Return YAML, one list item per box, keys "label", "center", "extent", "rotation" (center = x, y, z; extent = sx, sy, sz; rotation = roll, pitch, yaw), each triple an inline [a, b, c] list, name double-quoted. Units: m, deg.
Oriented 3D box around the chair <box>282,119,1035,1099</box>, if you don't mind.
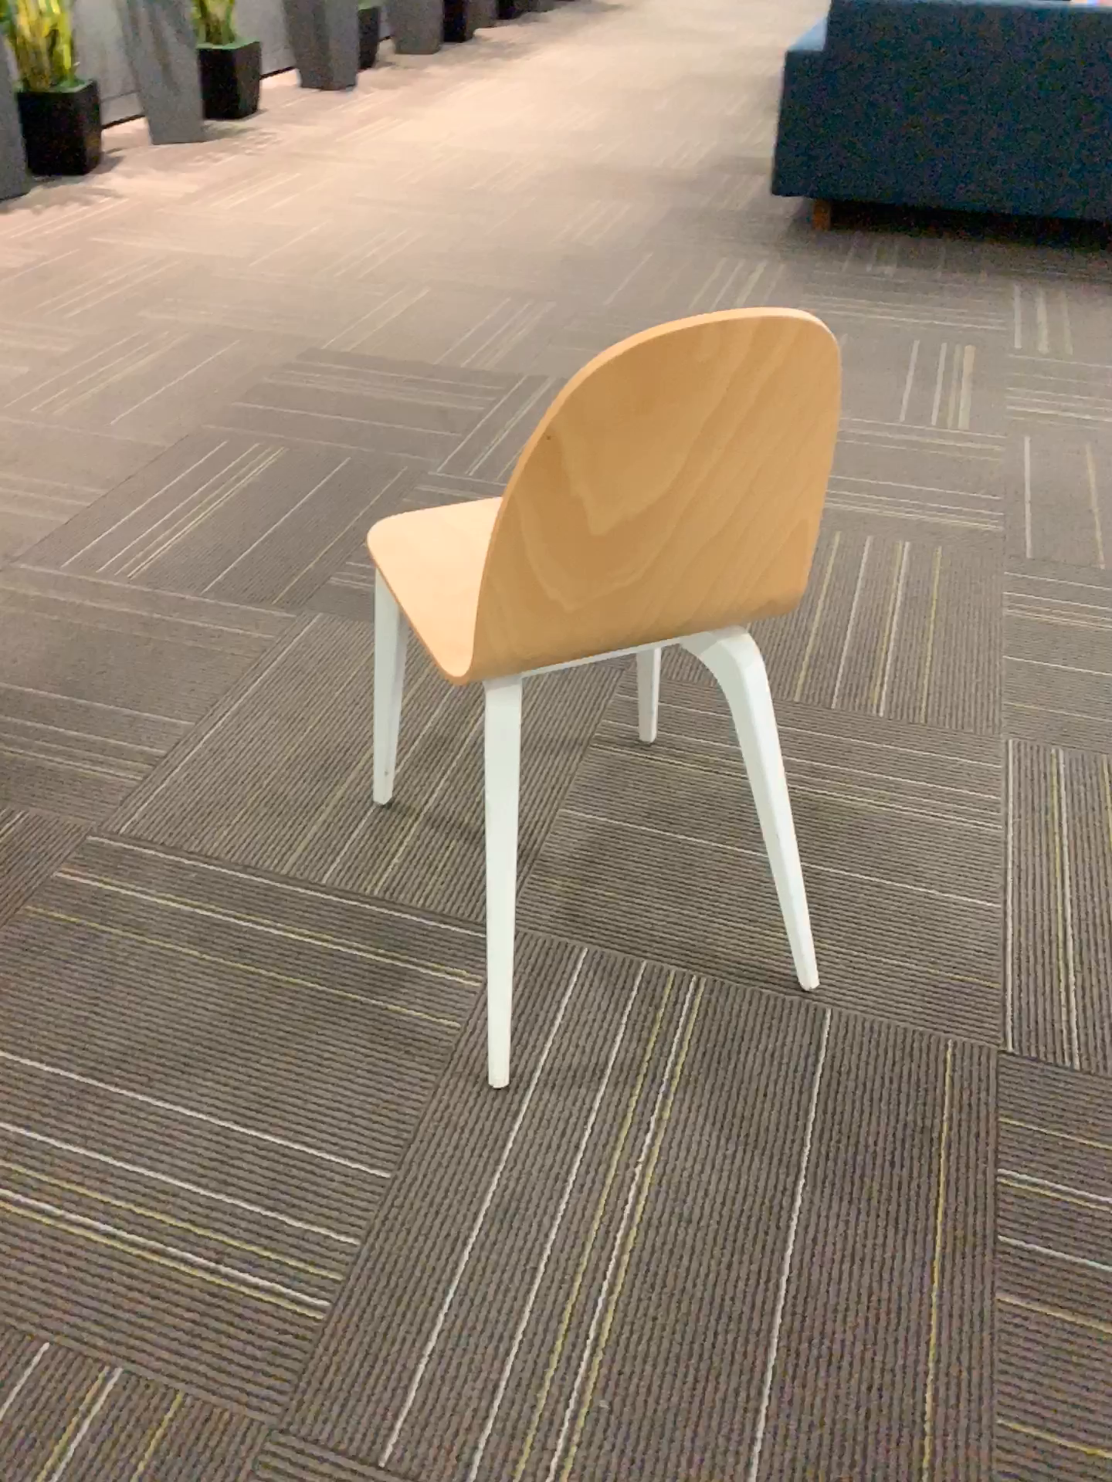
- label: "chair"
  center: [0.037, -0.153, 1.242]
  extent: [0.460, 0.825, 0.574]
  rotation: [-13, 40, -16]
